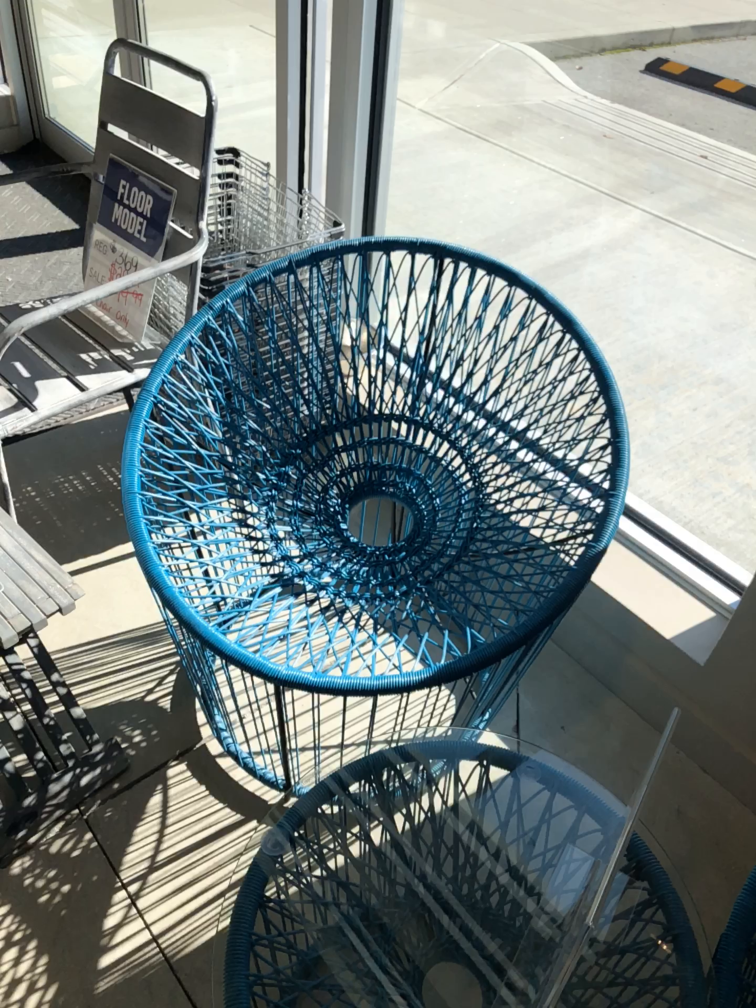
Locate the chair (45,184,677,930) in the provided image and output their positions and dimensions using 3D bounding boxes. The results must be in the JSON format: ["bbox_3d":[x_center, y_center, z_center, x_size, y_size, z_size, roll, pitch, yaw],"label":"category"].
[{"bbox_3d":[0.007,0.100,1.484,0.721,0.993,0.664,15,41,10],"label":"chair"}]
